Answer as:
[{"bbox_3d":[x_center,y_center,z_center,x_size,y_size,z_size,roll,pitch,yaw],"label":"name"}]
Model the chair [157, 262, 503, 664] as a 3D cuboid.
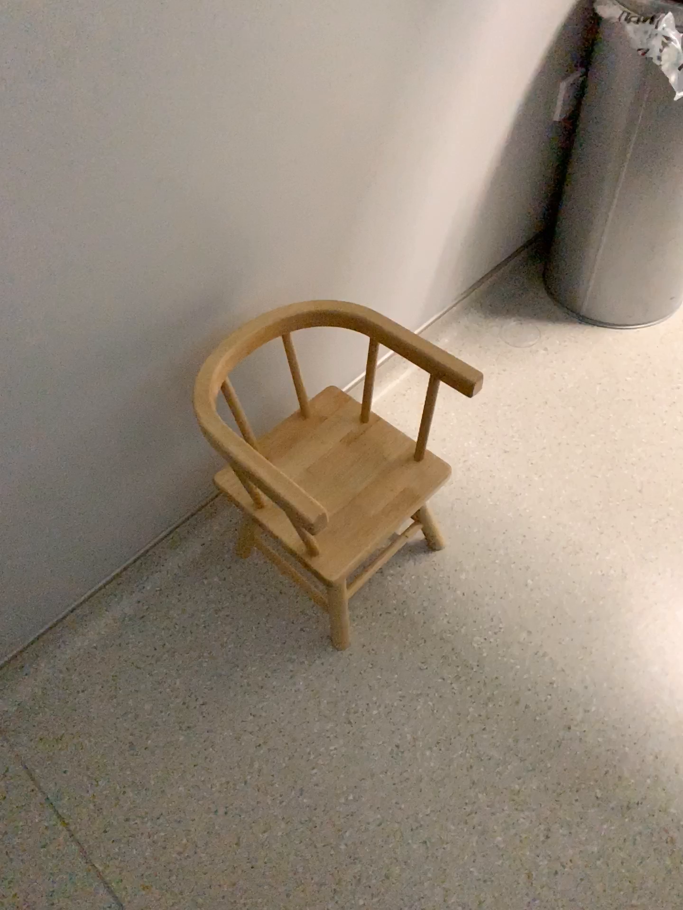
[{"bbox_3d":[-0.003,0.026,1.185,0.362,0.481,0.344,-38,59,-21],"label":"chair"}]
